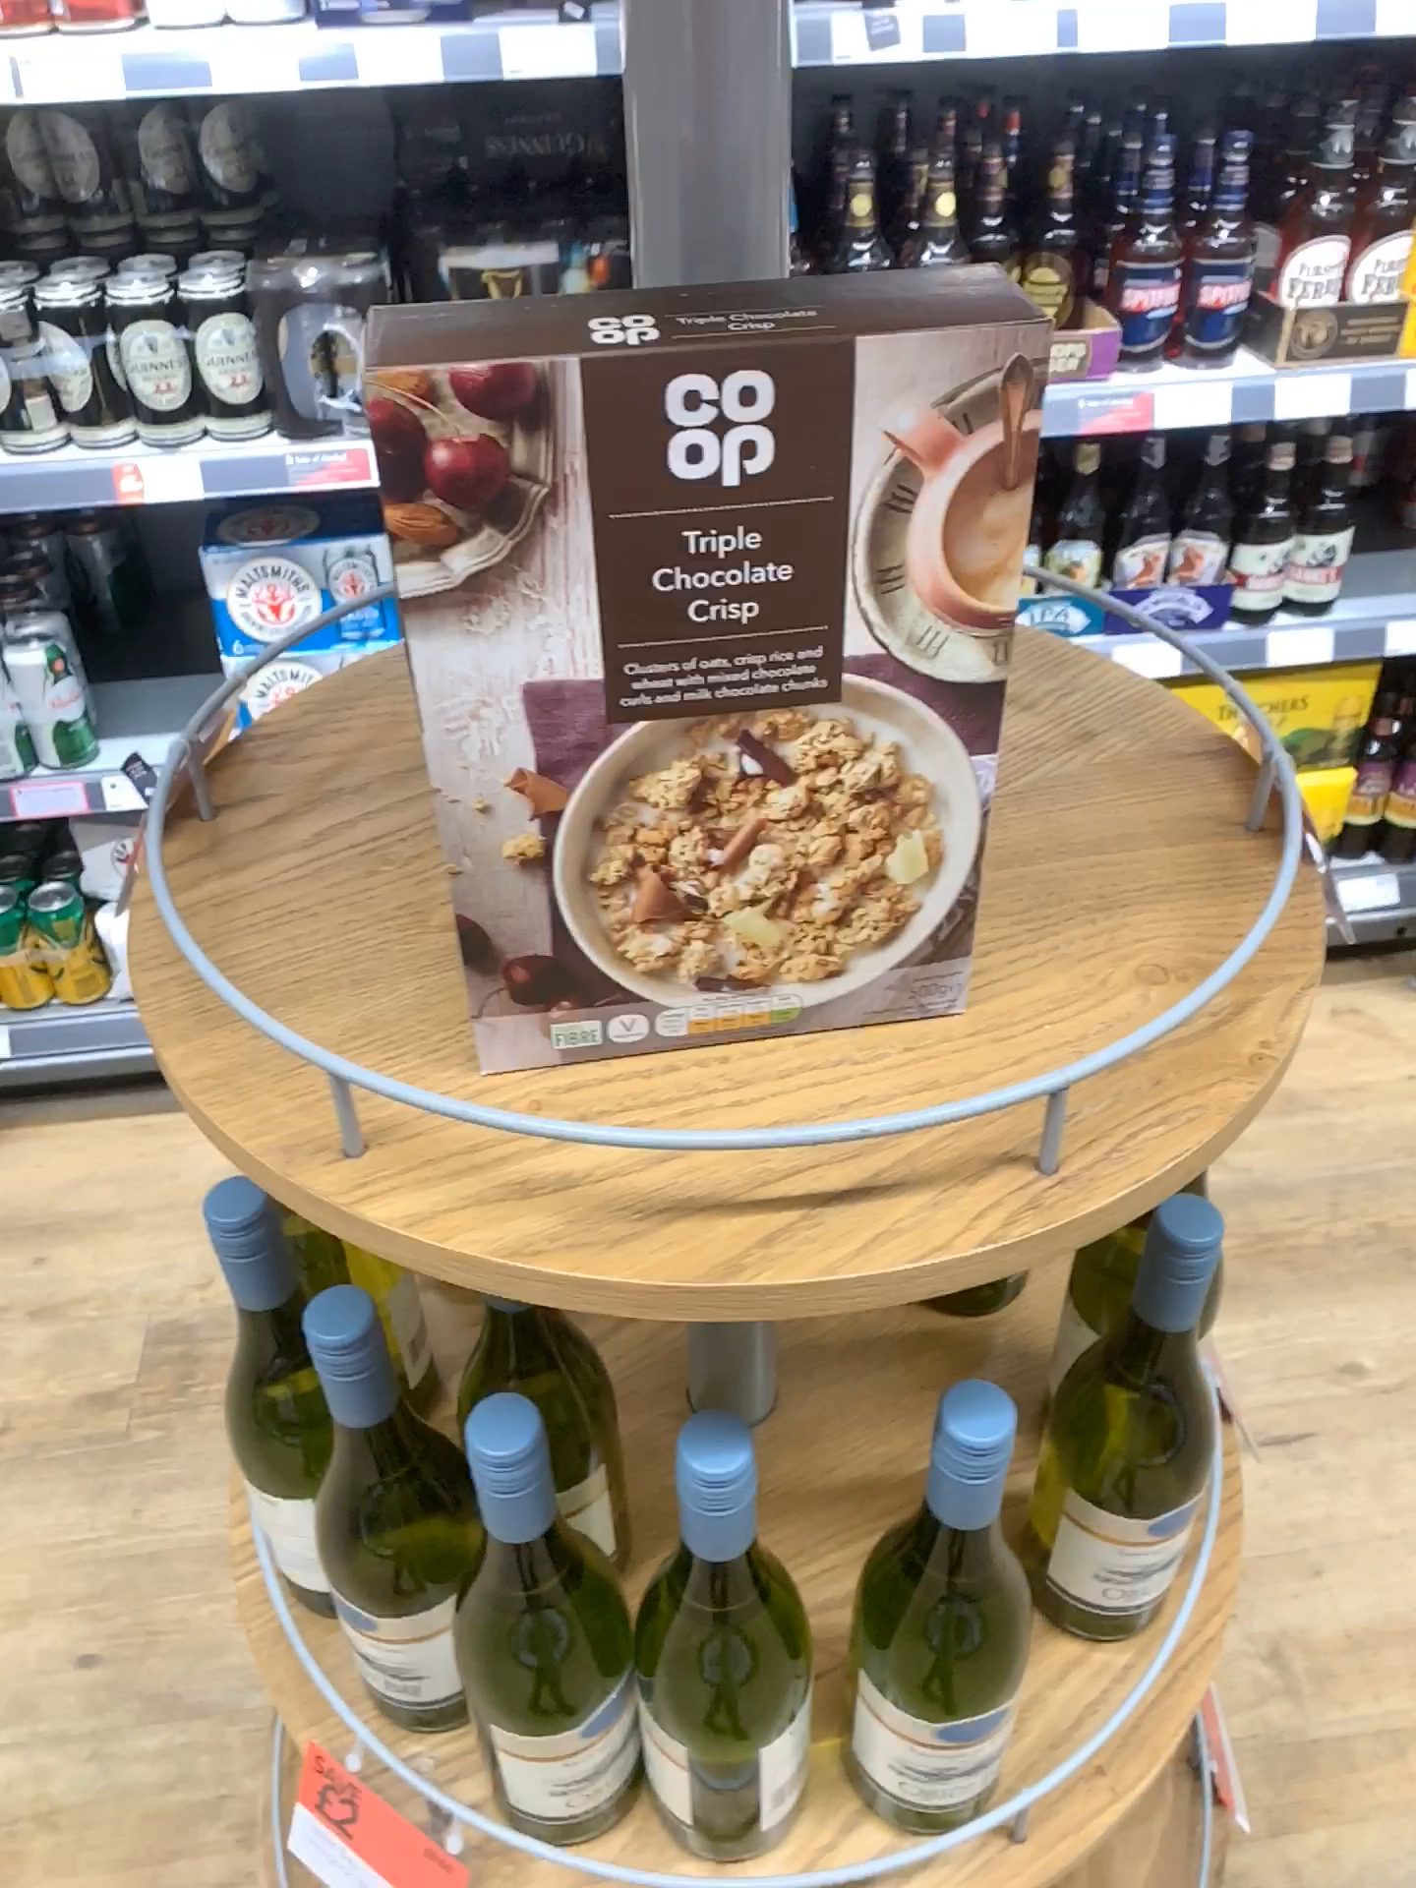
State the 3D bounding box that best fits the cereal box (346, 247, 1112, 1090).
[{"bbox_3d":[0.006,-0.072,0.452,0.190,0.247,0.051,-6,40,-6],"label":"cereal box"}]
